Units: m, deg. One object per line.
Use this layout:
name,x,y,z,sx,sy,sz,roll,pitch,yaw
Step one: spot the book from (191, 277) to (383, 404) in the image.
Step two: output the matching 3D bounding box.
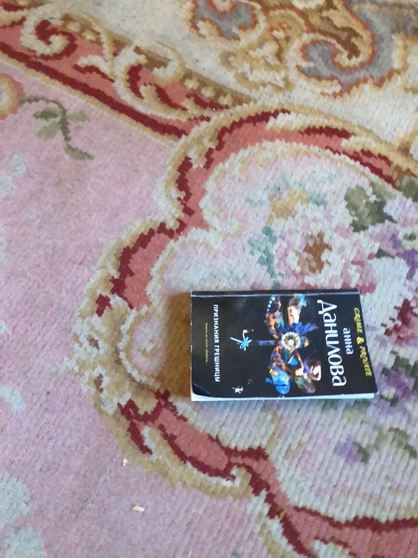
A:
book,0.066,0.059,0.434,0.165,0.050,0.110,0,71,-2
